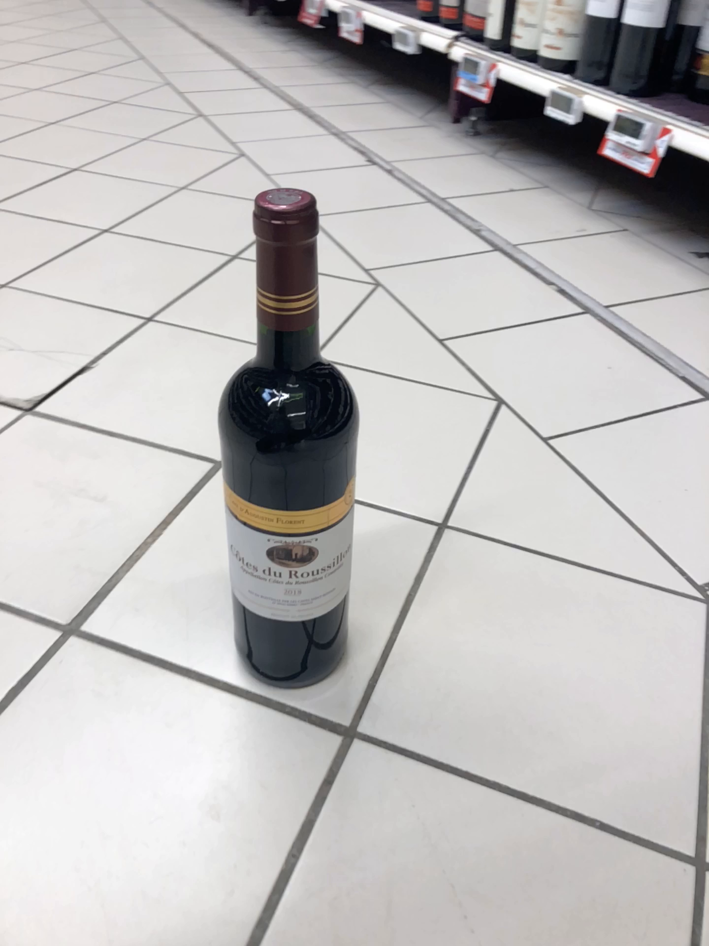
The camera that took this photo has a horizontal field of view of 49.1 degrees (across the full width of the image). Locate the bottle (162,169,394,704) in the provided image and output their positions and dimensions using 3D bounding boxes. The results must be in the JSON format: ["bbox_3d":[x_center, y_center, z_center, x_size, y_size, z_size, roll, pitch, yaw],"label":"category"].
[{"bbox_3d":[-0.034,-0.002,0.425,0.090,0.288,0.091,2,37,-1],"label":"bottle"}]
